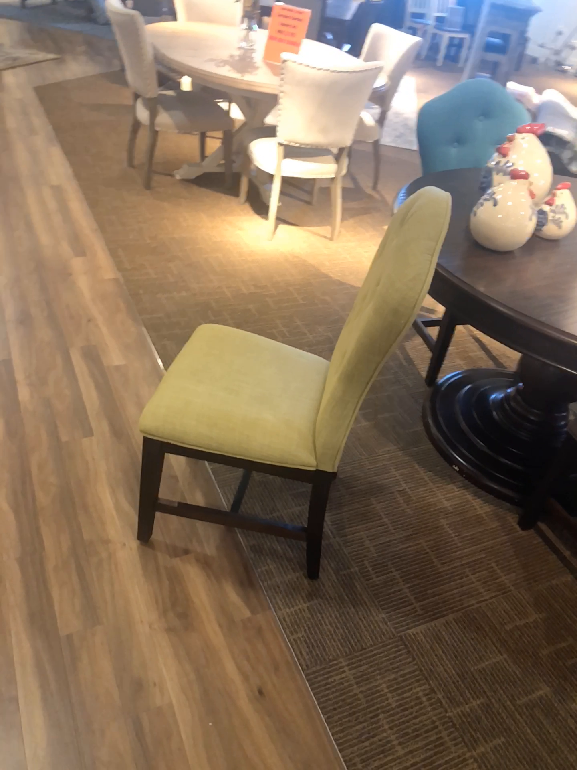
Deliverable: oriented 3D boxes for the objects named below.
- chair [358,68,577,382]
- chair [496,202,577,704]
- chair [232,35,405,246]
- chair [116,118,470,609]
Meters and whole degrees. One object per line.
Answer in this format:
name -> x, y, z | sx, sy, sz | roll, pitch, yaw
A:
chair -> 0.695, -0.584, 2.379 | 0.519, 0.960, 0.577 | -3, 38, -17
chair -> 1.039, 0.145, 1.508 | 0.509, 0.950, 0.637 | -5, 38, -19
chair -> 0.113, -1.344, 3.533 | 0.699, 0.940, 0.577 | -3, 37, -16
chair -> -0.013, -0.036, 1.574 | 0.615, 0.980, 0.541 | 12, 36, 4
